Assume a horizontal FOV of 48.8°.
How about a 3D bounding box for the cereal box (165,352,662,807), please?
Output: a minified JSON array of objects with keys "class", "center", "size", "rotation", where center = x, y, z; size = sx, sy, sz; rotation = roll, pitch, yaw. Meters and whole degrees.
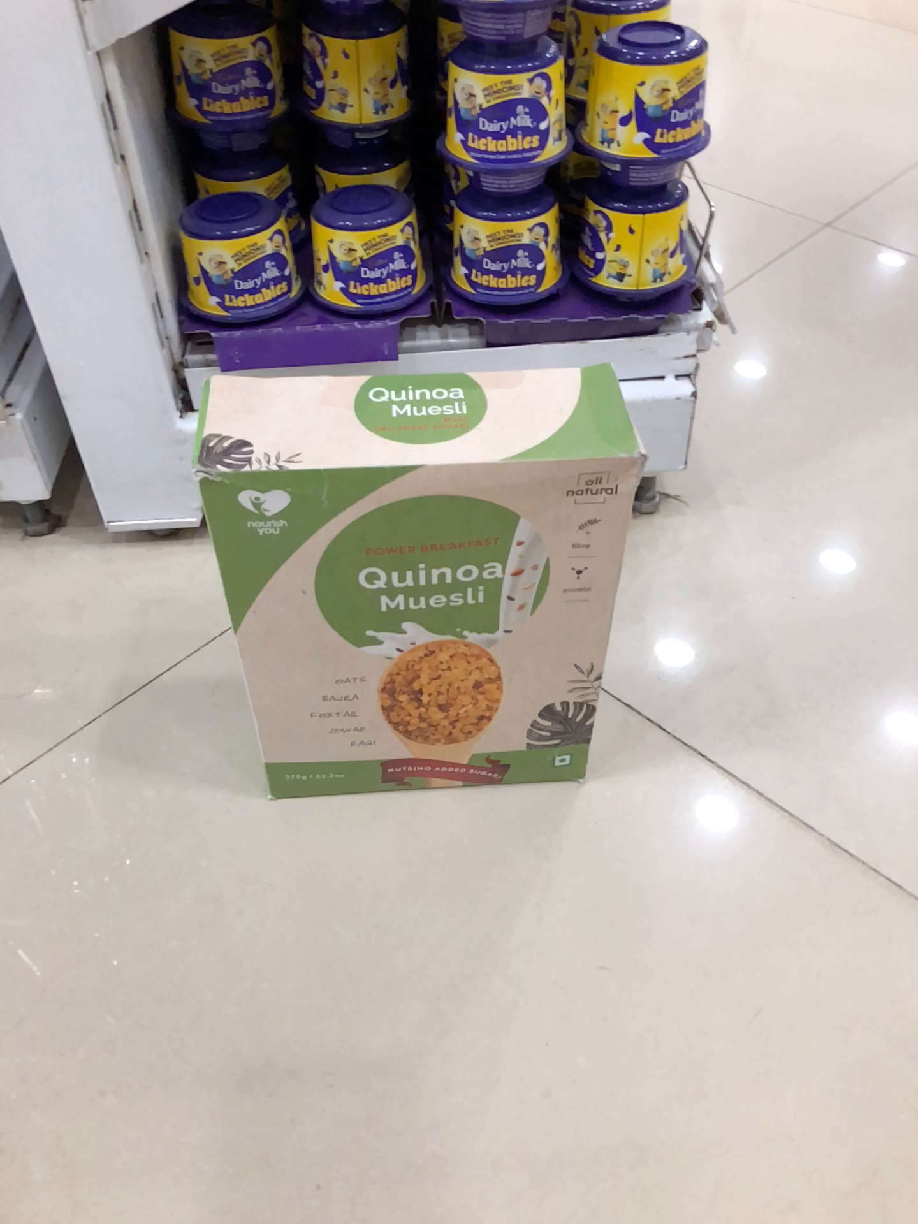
[{"class":"cereal box","center":[-0.016,-0.004,0.414],"size":[0.160,0.189,0.060],"rotation":[-3,46,-3]}]
